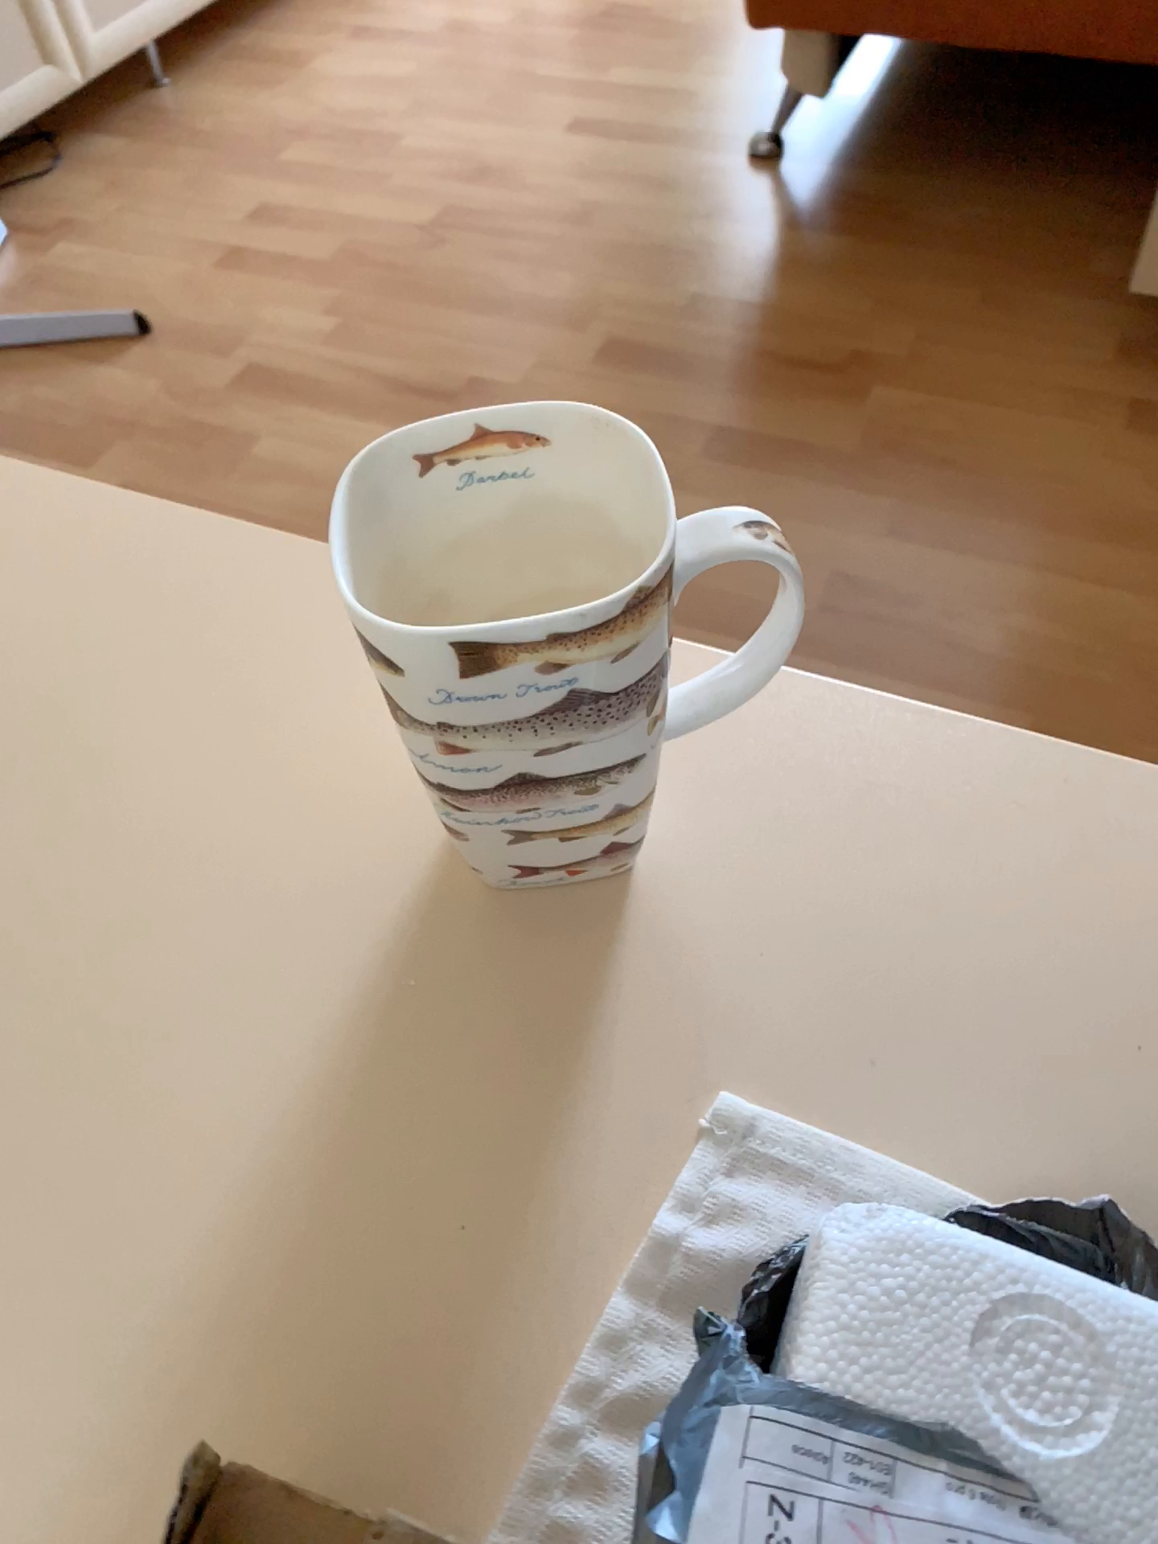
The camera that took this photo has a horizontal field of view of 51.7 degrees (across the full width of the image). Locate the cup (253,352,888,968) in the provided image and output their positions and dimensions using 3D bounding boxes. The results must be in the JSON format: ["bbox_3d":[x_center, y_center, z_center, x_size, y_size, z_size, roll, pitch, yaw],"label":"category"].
[{"bbox_3d":[0.000,-0.027,0.343,0.140,0.129,0.101,-6,51,2],"label":"cup"}]
